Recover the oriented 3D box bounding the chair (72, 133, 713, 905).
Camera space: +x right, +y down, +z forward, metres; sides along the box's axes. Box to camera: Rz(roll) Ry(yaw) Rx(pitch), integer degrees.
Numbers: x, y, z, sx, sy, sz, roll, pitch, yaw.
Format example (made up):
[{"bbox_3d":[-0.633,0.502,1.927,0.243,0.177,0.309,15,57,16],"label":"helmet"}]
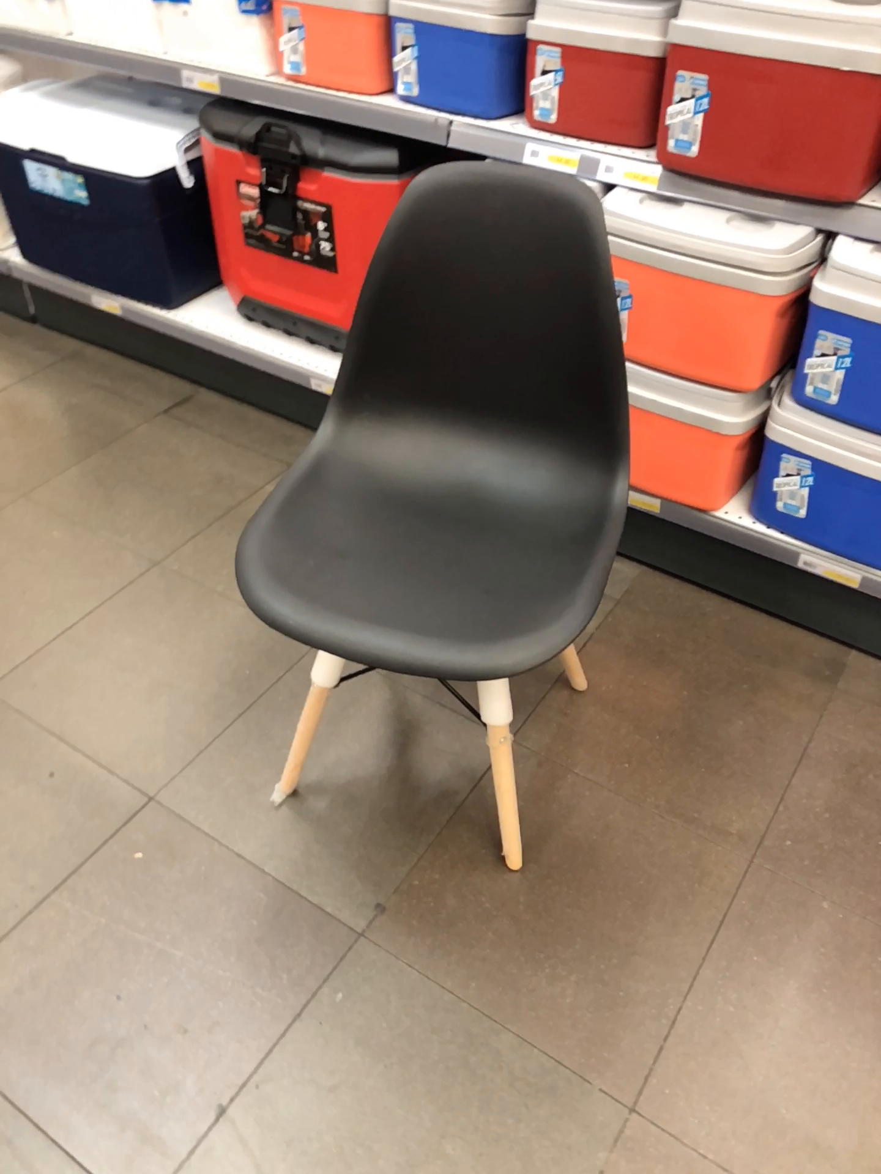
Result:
[{"bbox_3d":[-0.004,-0.098,1.247,0.500,0.724,0.554,13,43,15],"label":"chair"}]
